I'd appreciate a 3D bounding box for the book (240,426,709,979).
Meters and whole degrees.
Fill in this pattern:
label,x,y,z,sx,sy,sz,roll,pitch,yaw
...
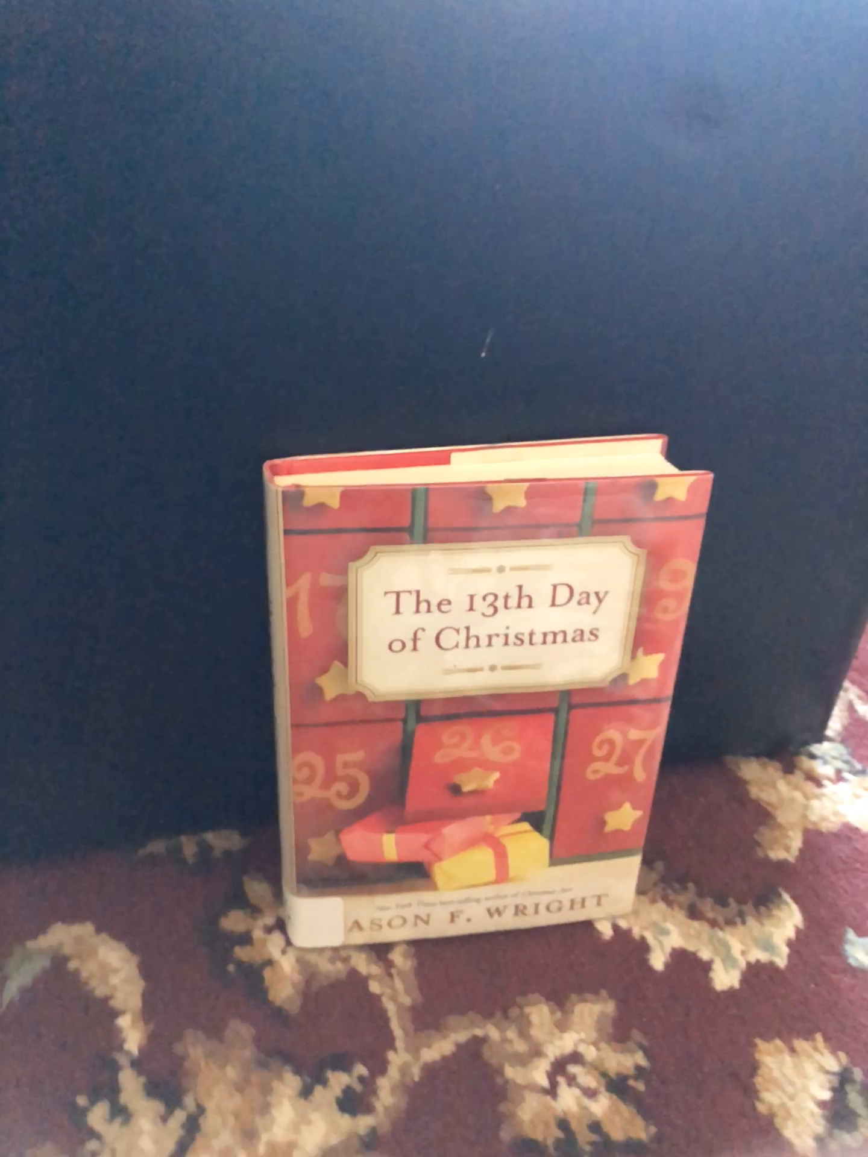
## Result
label,x,y,z,sx,sy,sz,roll,pitch,yaw
book,0.009,0.047,0.341,0.138,0.190,0.040,-5,29,-13
